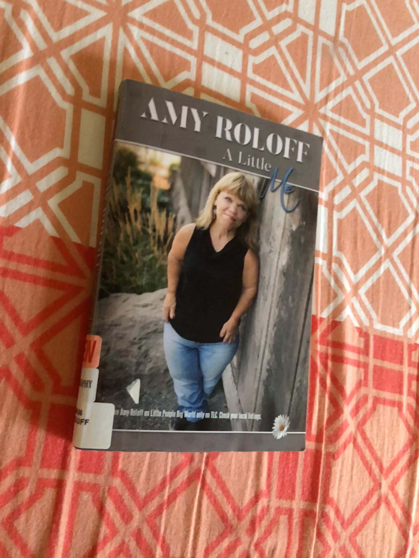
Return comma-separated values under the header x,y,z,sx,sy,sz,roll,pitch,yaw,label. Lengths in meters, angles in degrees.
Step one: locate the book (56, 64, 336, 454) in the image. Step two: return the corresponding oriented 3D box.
x,y,z,sx,sy,sz,roll,pitch,yaw,label
0.000,-0.004,0.297,0.158,0.030,0.215,8,83,-23,book
